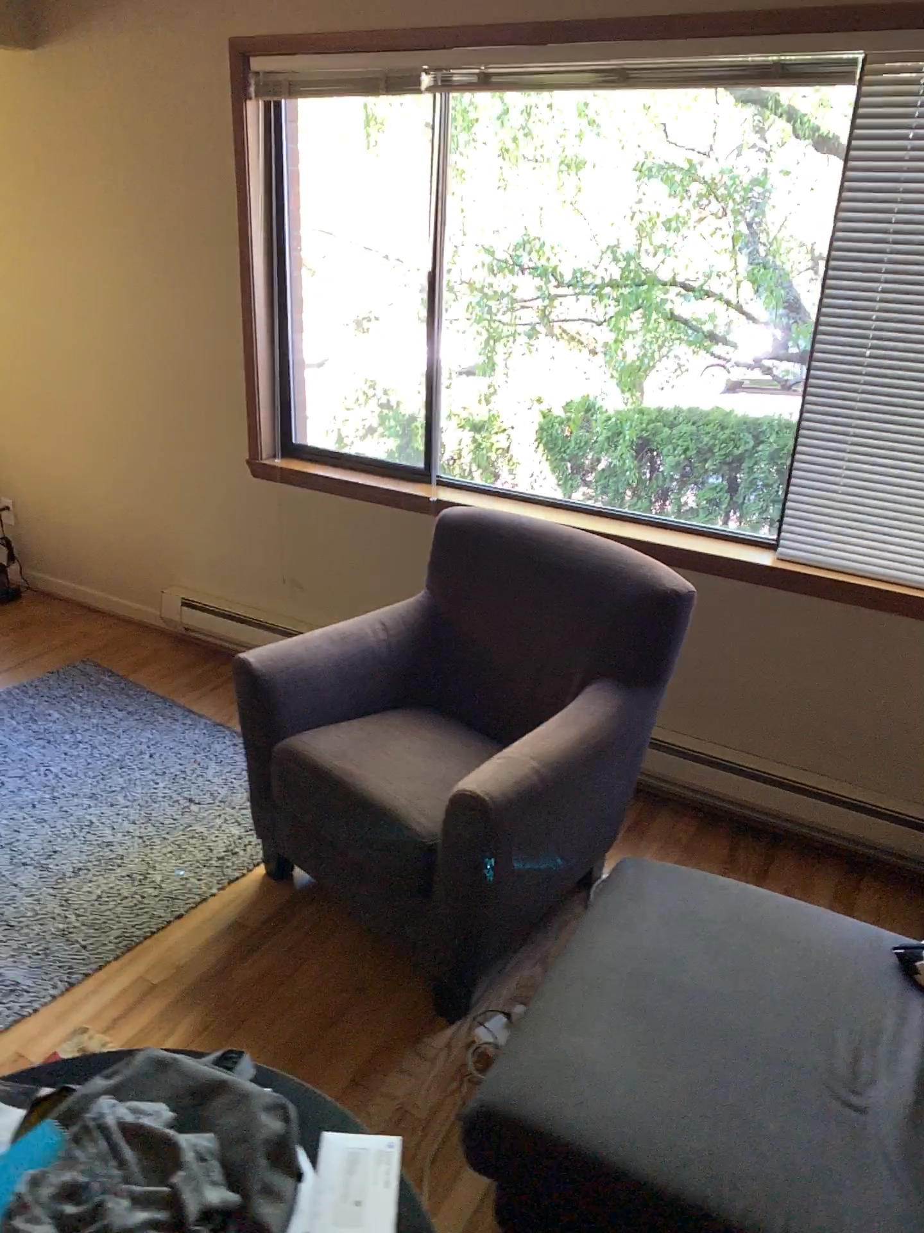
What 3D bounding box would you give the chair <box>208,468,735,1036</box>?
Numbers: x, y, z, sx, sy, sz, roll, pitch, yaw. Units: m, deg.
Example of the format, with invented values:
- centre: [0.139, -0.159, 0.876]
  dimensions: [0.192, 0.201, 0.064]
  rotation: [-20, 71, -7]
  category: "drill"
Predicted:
- centre: [-0.009, 0.206, 2.265]
  dimensions: [0.883, 0.876, 0.801]
  rotation: [22, 27, 38]
  category: "chair"
